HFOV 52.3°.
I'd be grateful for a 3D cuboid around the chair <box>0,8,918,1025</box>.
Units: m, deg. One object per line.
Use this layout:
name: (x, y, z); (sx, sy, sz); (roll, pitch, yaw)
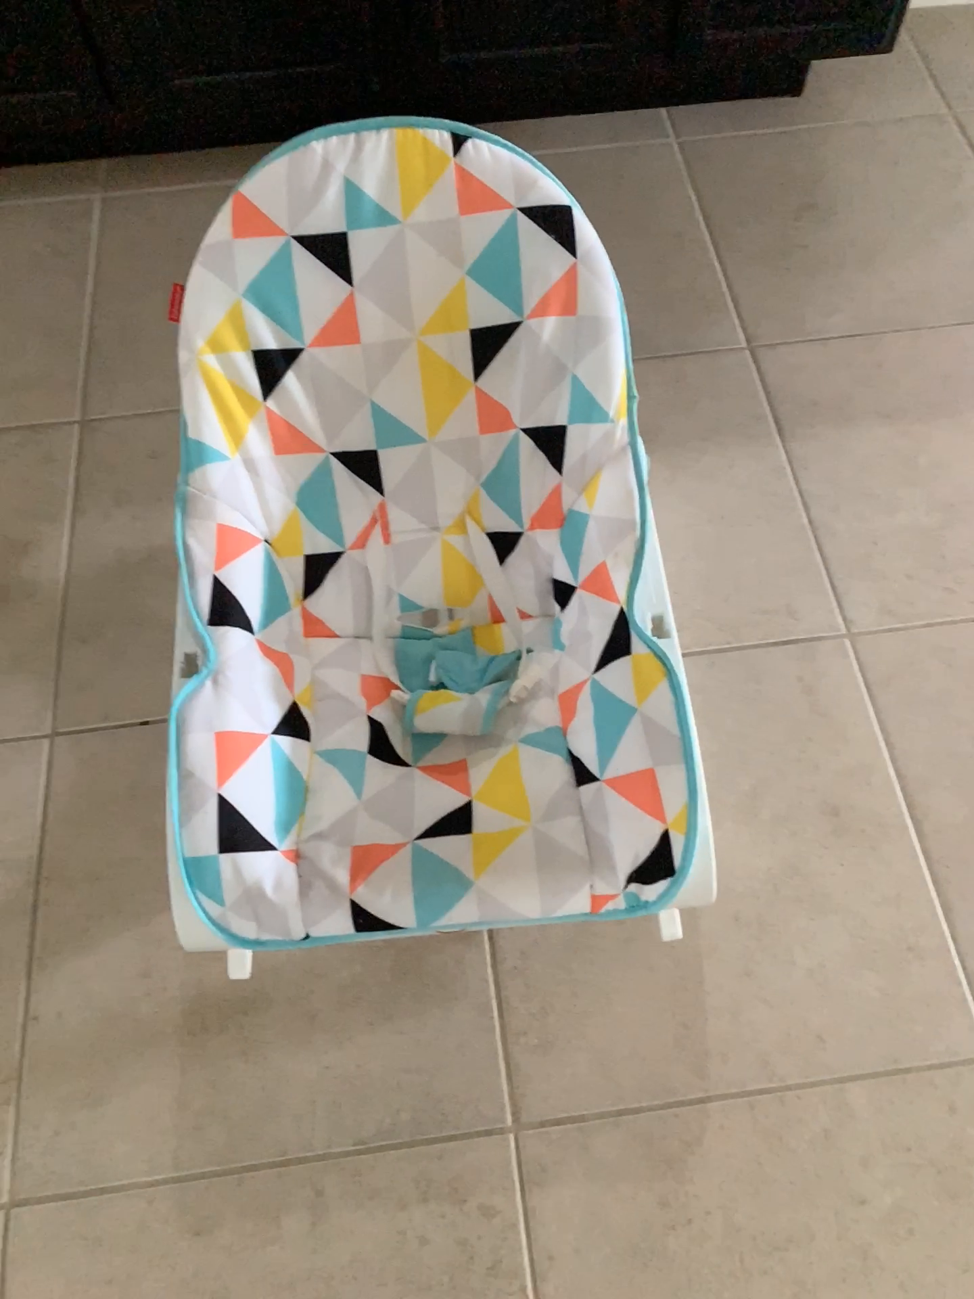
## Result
chair: (-0.064, -0.103, 0.918); (0.530, 0.487, 0.735); (-7, 63, -2)
